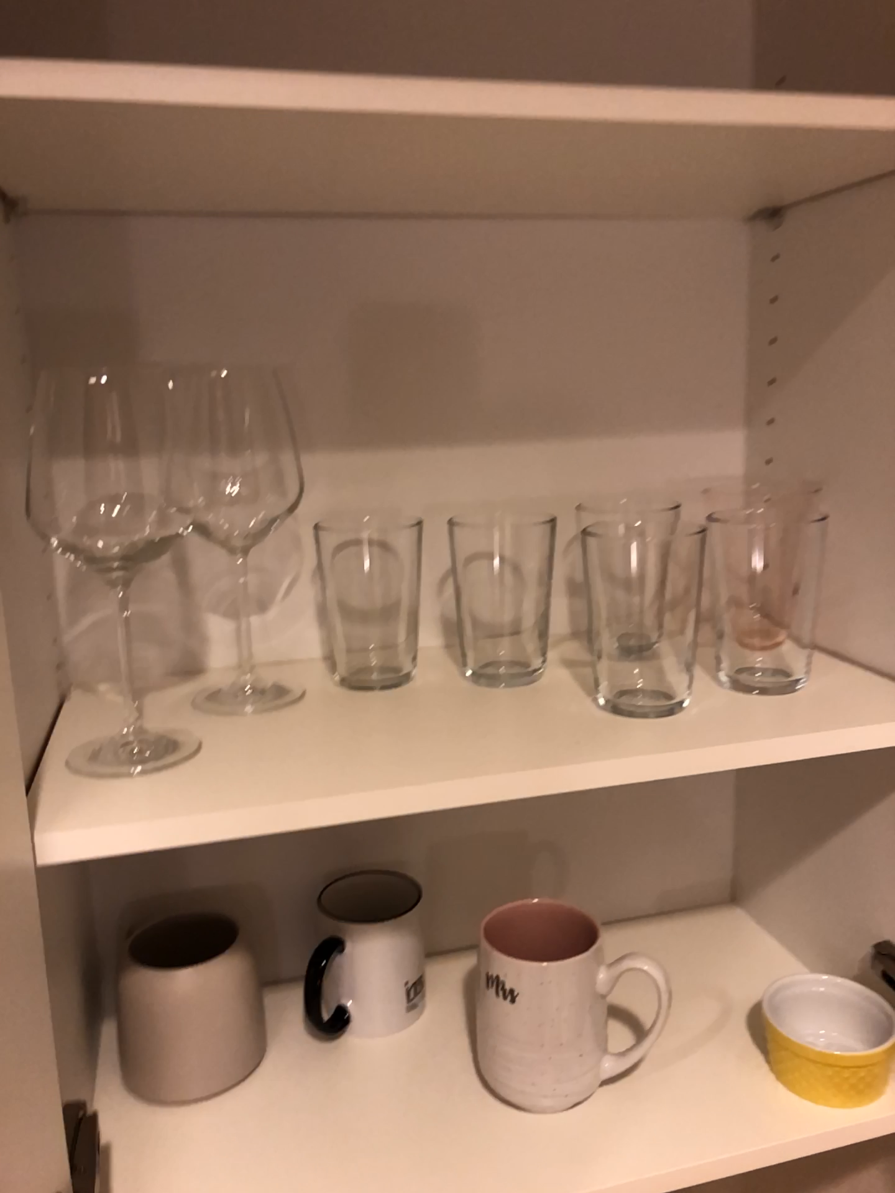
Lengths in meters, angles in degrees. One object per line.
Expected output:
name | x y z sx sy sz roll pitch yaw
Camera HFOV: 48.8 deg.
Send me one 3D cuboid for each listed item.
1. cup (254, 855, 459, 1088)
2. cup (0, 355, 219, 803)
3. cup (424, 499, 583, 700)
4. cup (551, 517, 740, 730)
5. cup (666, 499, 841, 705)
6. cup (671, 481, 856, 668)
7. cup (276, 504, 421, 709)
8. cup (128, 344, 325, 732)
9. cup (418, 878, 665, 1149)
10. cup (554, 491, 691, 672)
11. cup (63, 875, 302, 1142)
cup | -0.063 0.275 0.745 0.090 0.090 0.140 4 13 26
cup | -0.212 -0.017 0.605 0.110 0.249 0.090 -6 12 -20
cup | 0.038 -0.002 0.697 0.080 0.120 0.090 -6 12 -20
cup | 0.122 0.012 0.623 0.080 0.110 0.090 -6 12 -20
cup | 0.205 0.000 0.671 0.080 0.120 0.080 -2 11 0
cup | 0.236 -0.022 0.750 0.090 0.120 0.100 -6 12 -18
cup | -0.075 0.003 0.732 0.080 0.130 0.090 -6 12 -20
cup | -0.161 -0.047 0.718 0.110 0.259 0.090 -6 12 -20
cup | 0.064 0.266 0.647 0.140 0.110 0.090 2 12 20
cup | 0.132 -0.015 0.752 0.070 0.120 0.080 -6 12 -20
cup | -0.190 0.283 0.703 0.110 0.090 0.140 -11 14 -37
